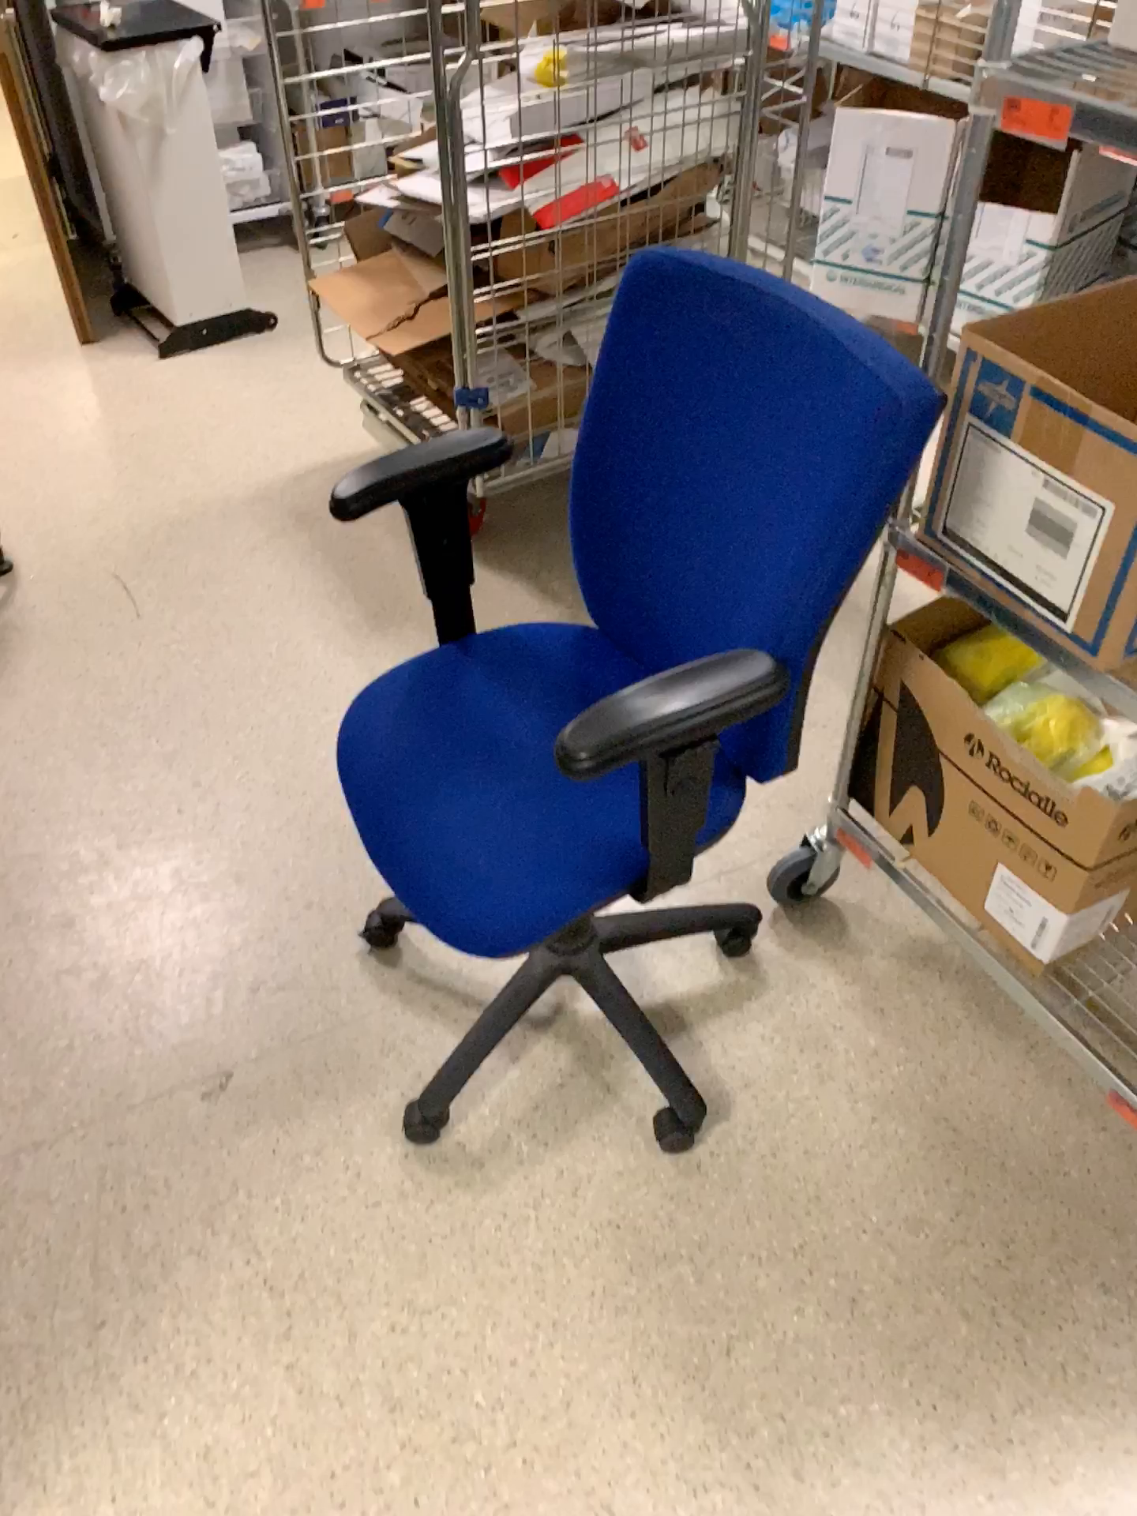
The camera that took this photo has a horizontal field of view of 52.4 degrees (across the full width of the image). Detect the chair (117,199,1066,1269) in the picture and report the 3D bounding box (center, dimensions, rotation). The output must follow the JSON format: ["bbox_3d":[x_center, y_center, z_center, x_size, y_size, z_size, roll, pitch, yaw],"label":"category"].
[{"bbox_3d":[-0.024,-0.034,1.425,0.667,0.950,0.683,-19,46,-19],"label":"chair"}]
